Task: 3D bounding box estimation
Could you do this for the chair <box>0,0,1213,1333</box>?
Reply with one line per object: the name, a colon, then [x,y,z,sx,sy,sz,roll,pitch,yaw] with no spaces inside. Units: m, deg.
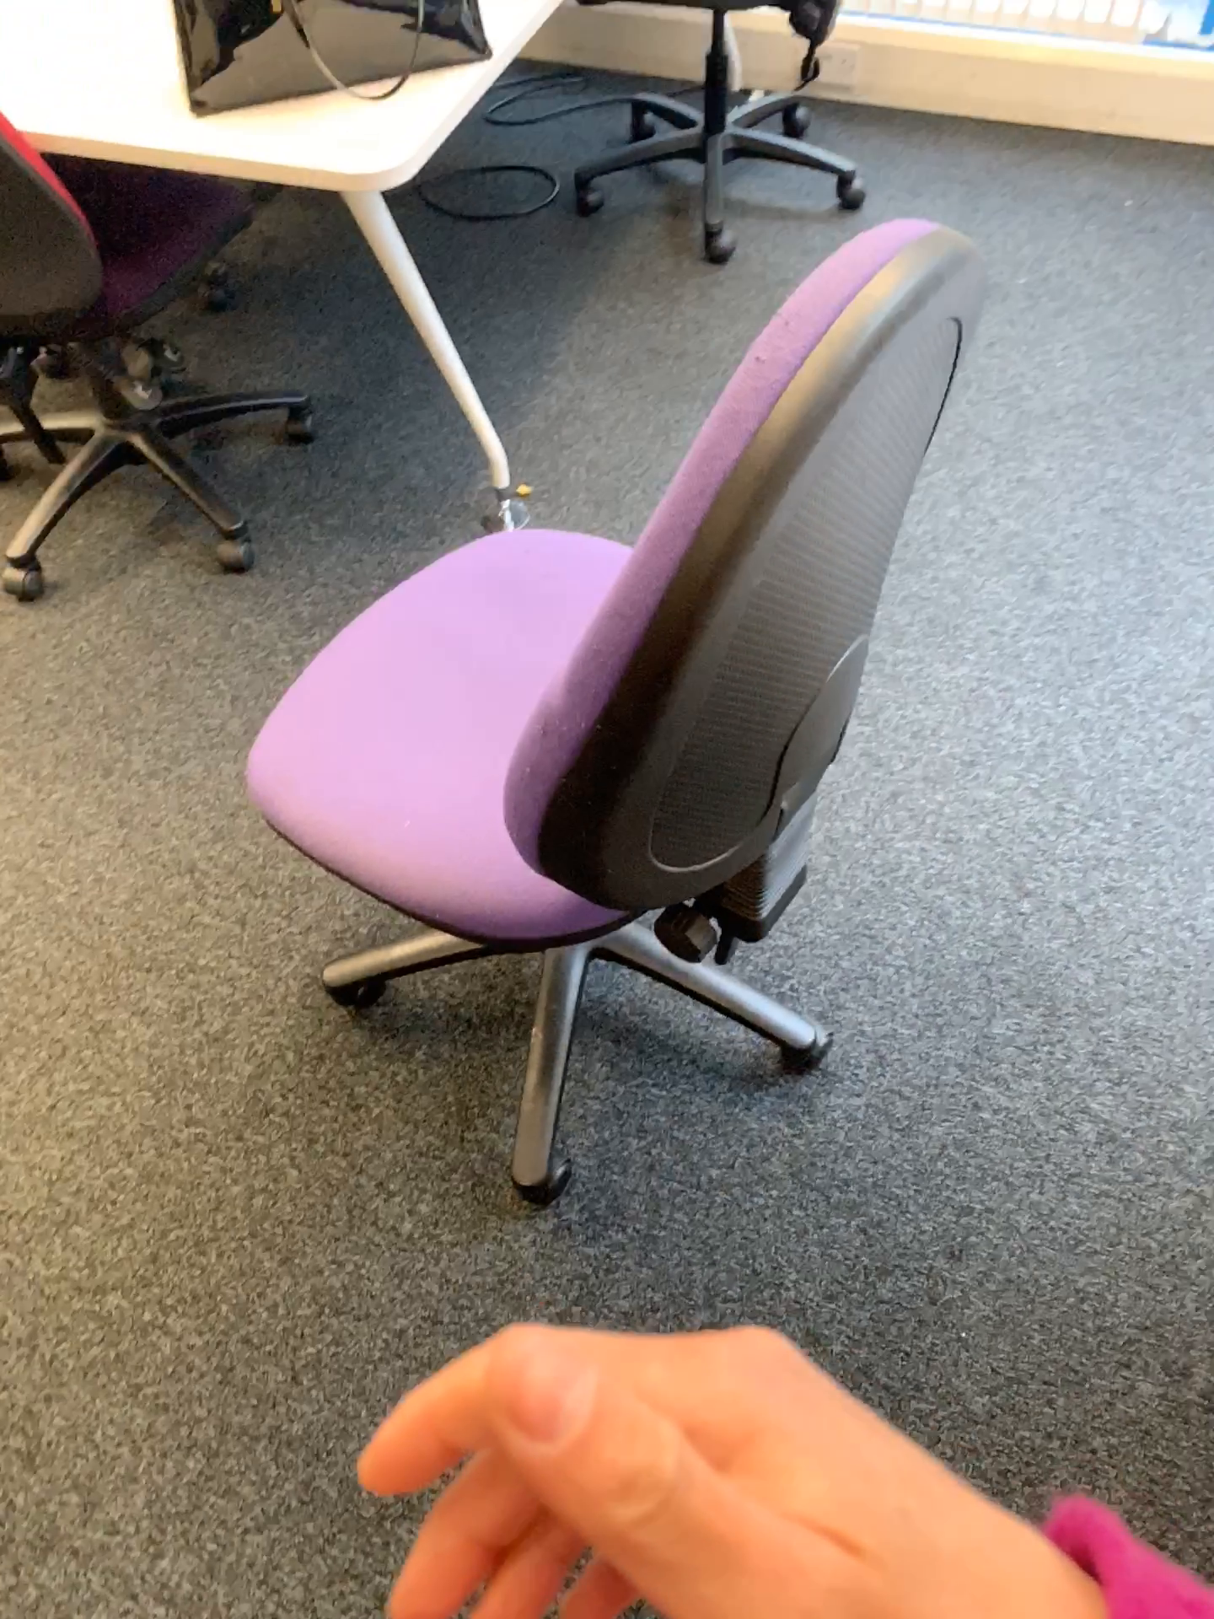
chair: [-0.024,-0.121,1.152,0.636,0.985,0.672,27,59,21]
